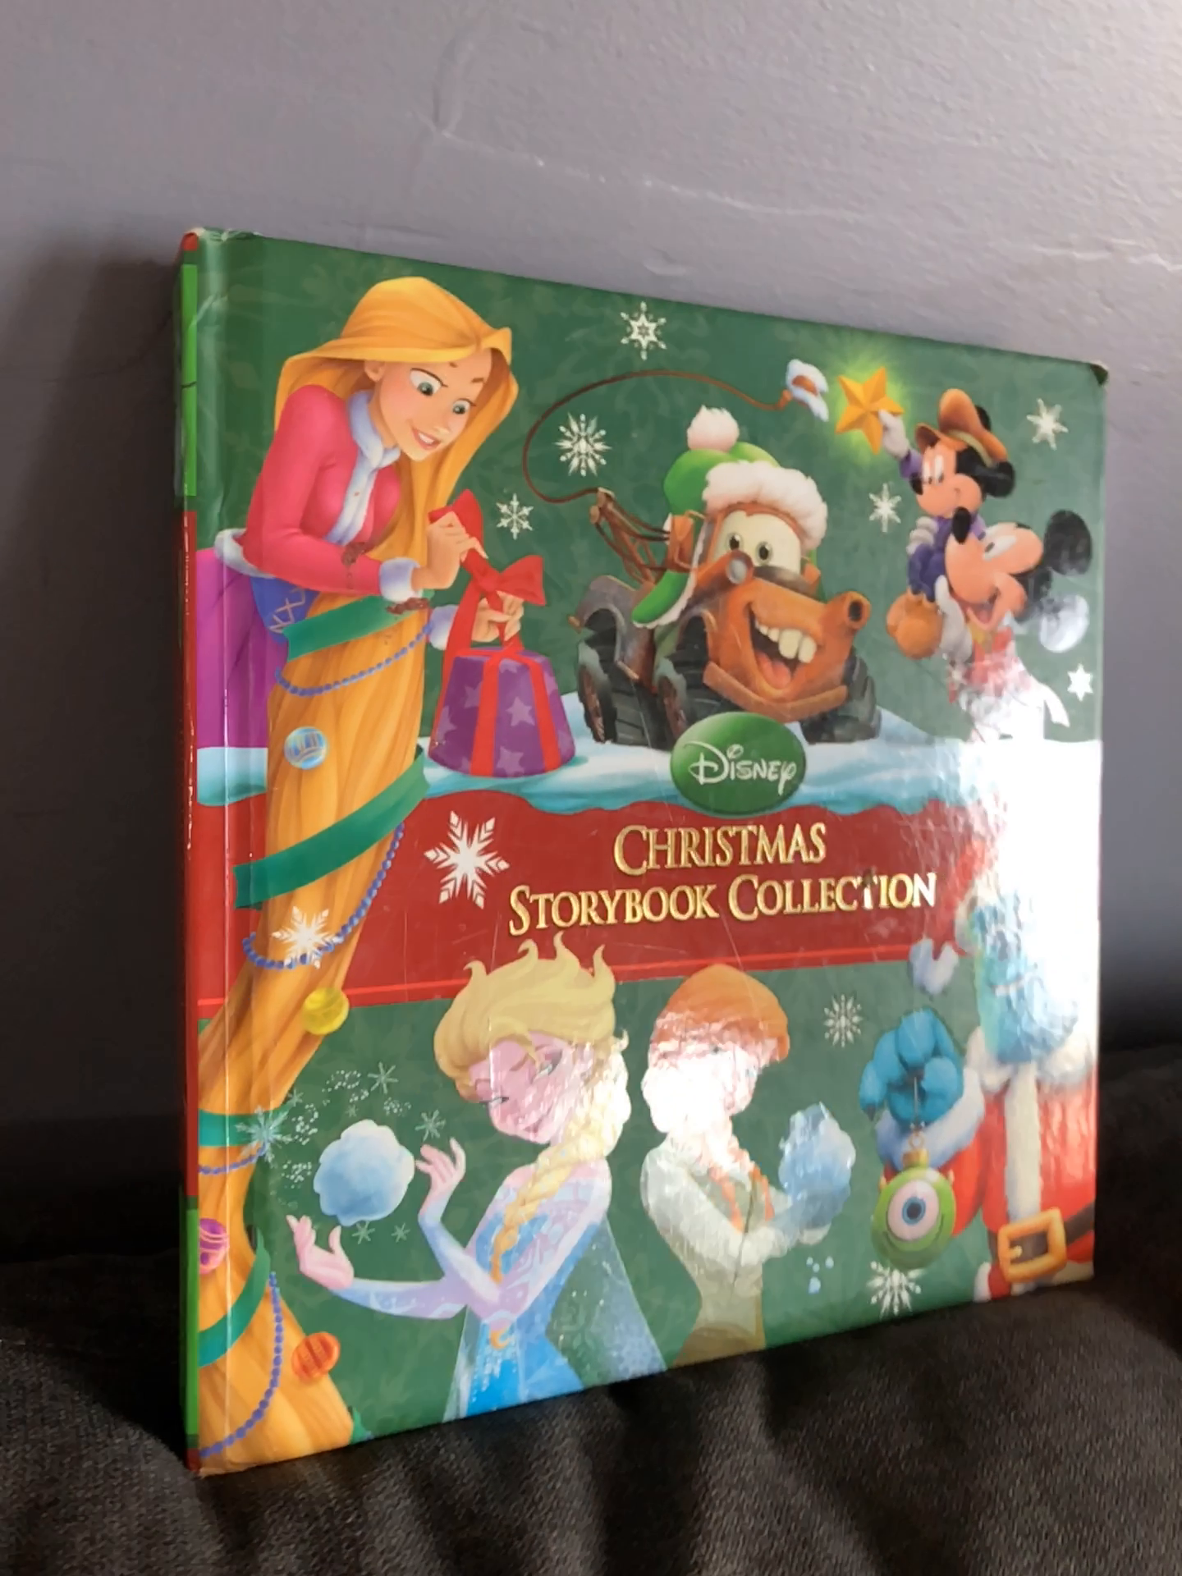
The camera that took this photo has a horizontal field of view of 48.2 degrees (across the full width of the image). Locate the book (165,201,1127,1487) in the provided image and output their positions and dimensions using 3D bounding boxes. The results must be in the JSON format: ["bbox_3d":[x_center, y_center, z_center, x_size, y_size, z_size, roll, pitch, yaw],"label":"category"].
[{"bbox_3d":[0.023,0.010,0.306,0.227,0.238,0.033,-1,4,-25],"label":"book"}]
